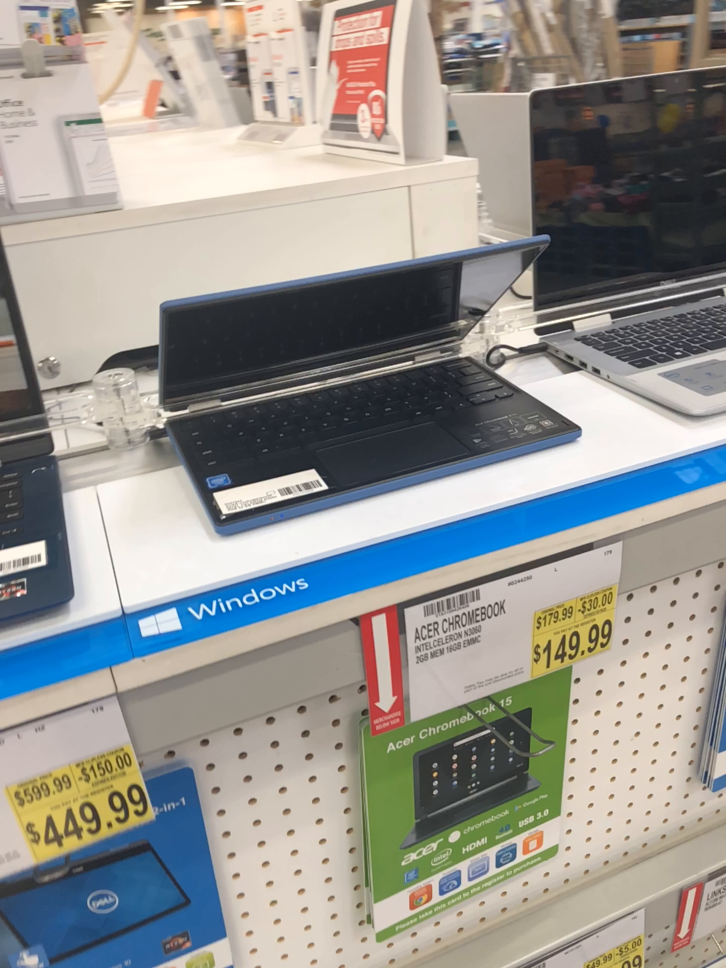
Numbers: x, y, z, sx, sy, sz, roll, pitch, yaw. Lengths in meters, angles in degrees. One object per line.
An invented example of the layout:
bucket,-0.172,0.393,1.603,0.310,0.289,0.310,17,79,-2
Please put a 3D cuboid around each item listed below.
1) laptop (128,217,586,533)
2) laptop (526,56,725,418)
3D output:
laptop,-0.007,-0.100,0.600,0.279,0.128,0.185,-15,31,-19
laptop,0.369,-0.243,0.711,0.355,0.216,0.247,-15,30,-17
